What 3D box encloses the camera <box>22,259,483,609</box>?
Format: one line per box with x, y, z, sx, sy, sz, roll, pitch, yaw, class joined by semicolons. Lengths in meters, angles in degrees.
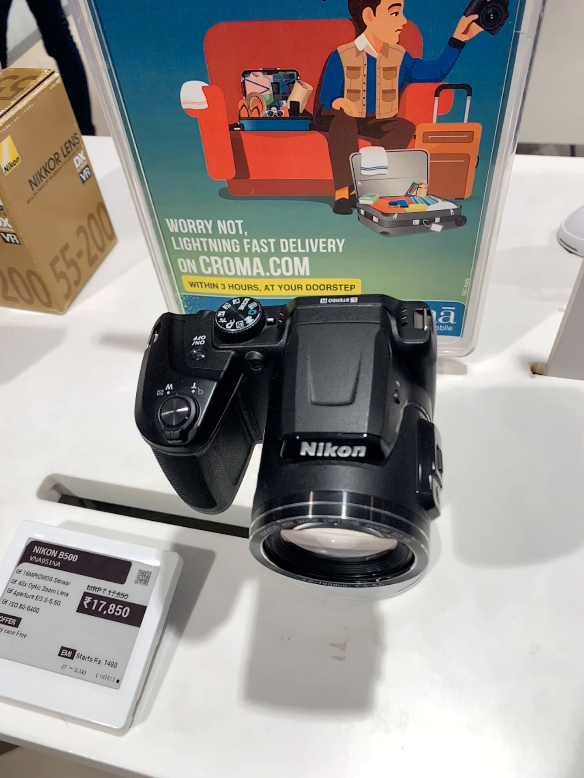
-0.006;0.016;0.214;0.120;0.080;0.090;0;49;7;camera
